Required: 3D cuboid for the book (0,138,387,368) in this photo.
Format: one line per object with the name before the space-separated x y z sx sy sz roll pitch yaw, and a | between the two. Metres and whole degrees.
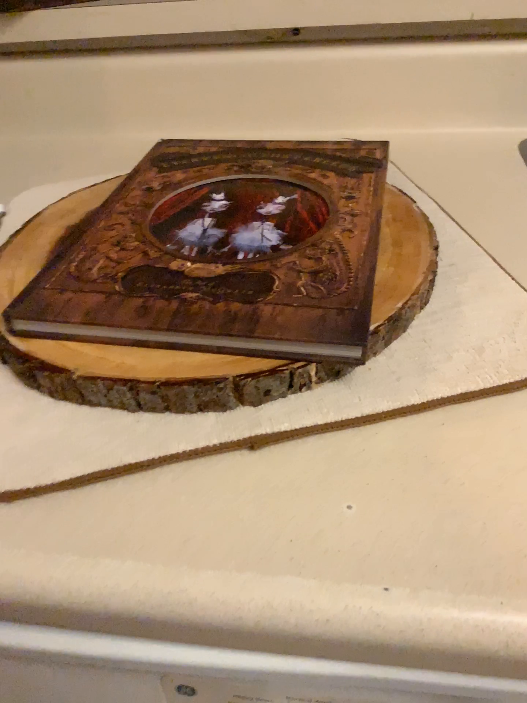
book | -0.026 -0.104 0.464 0.230 0.020 0.310 4 40 11
